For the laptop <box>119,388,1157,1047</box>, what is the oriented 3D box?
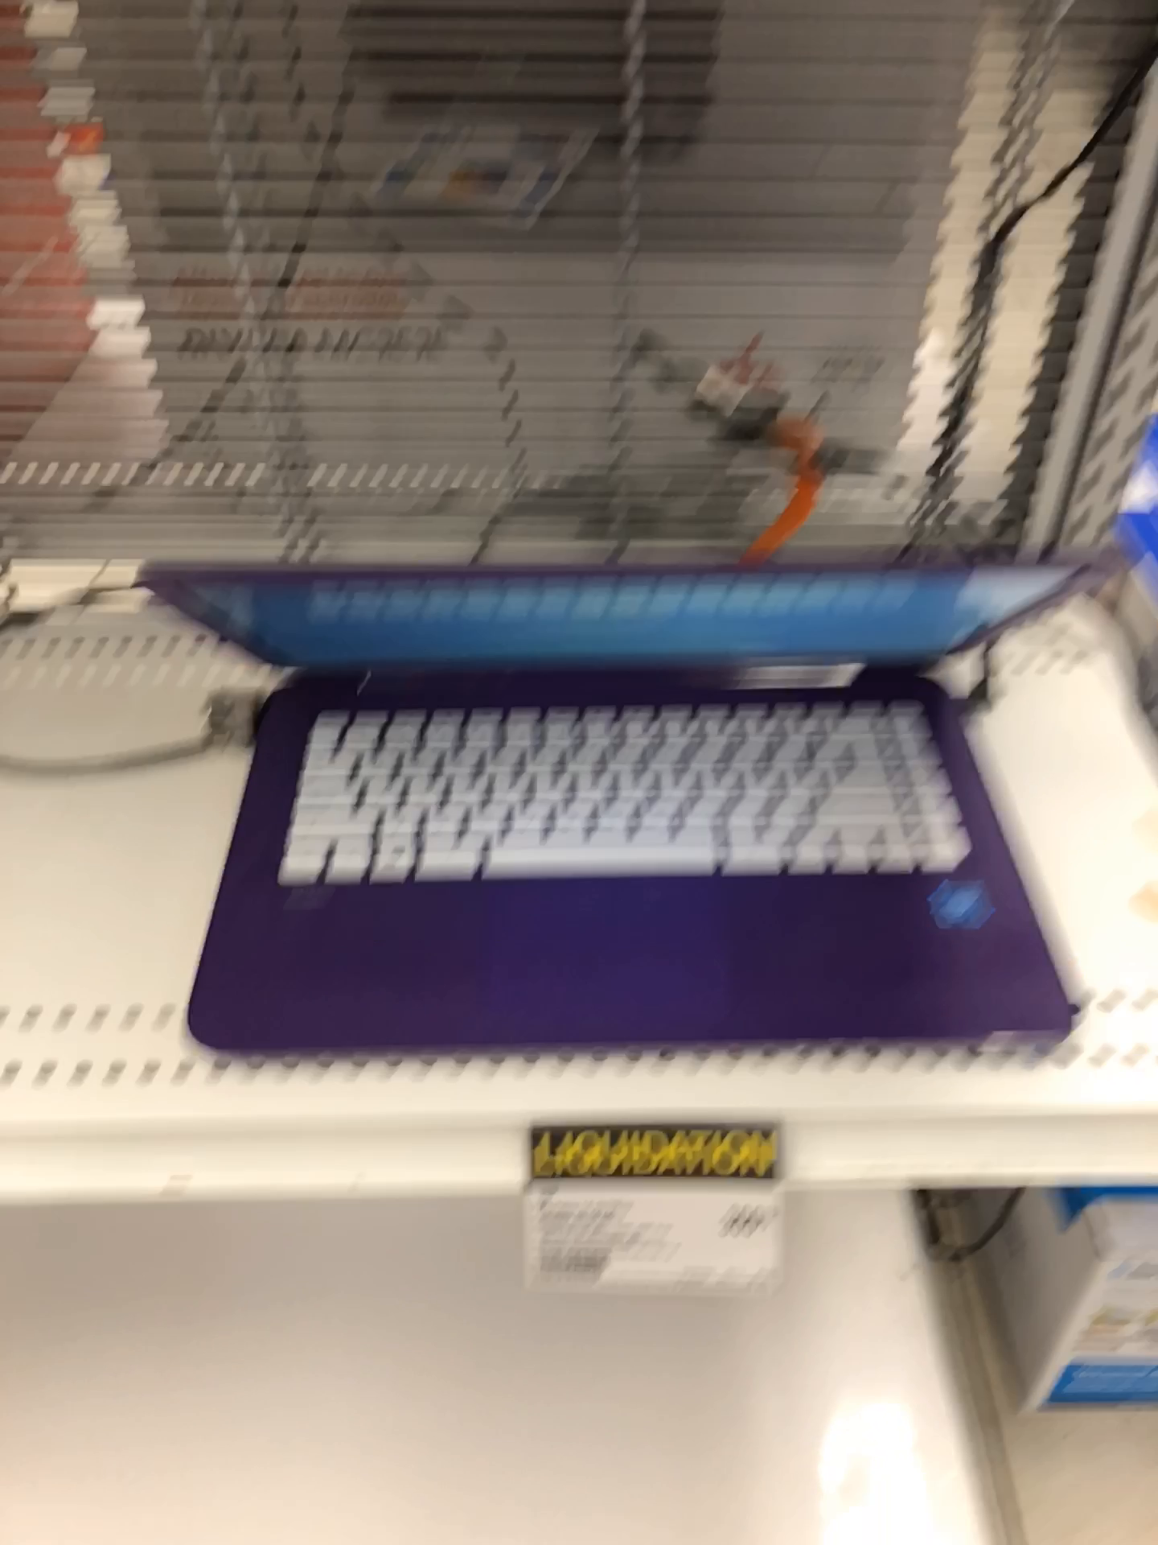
[{"bbox_3d":[0.019,-0.028,0.490,0.305,0.138,0.207,-1,44,0],"label":"laptop"}]
